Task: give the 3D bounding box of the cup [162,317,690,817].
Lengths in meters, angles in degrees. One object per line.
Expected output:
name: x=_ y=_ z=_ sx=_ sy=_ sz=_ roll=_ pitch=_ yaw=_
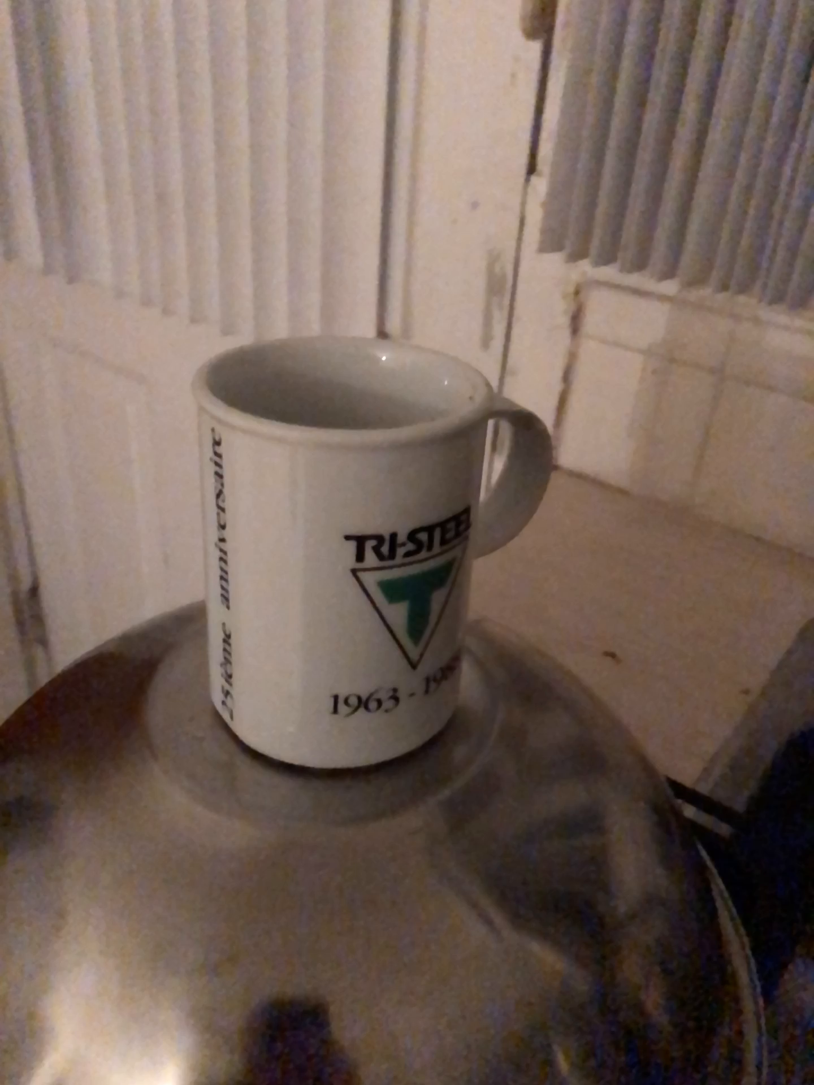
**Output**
cup: x=0.001 y=0.000 z=0.255 sx=0.116 sy=0.099 sz=0.070 roll=-11 pitch=33 yaw=-24
